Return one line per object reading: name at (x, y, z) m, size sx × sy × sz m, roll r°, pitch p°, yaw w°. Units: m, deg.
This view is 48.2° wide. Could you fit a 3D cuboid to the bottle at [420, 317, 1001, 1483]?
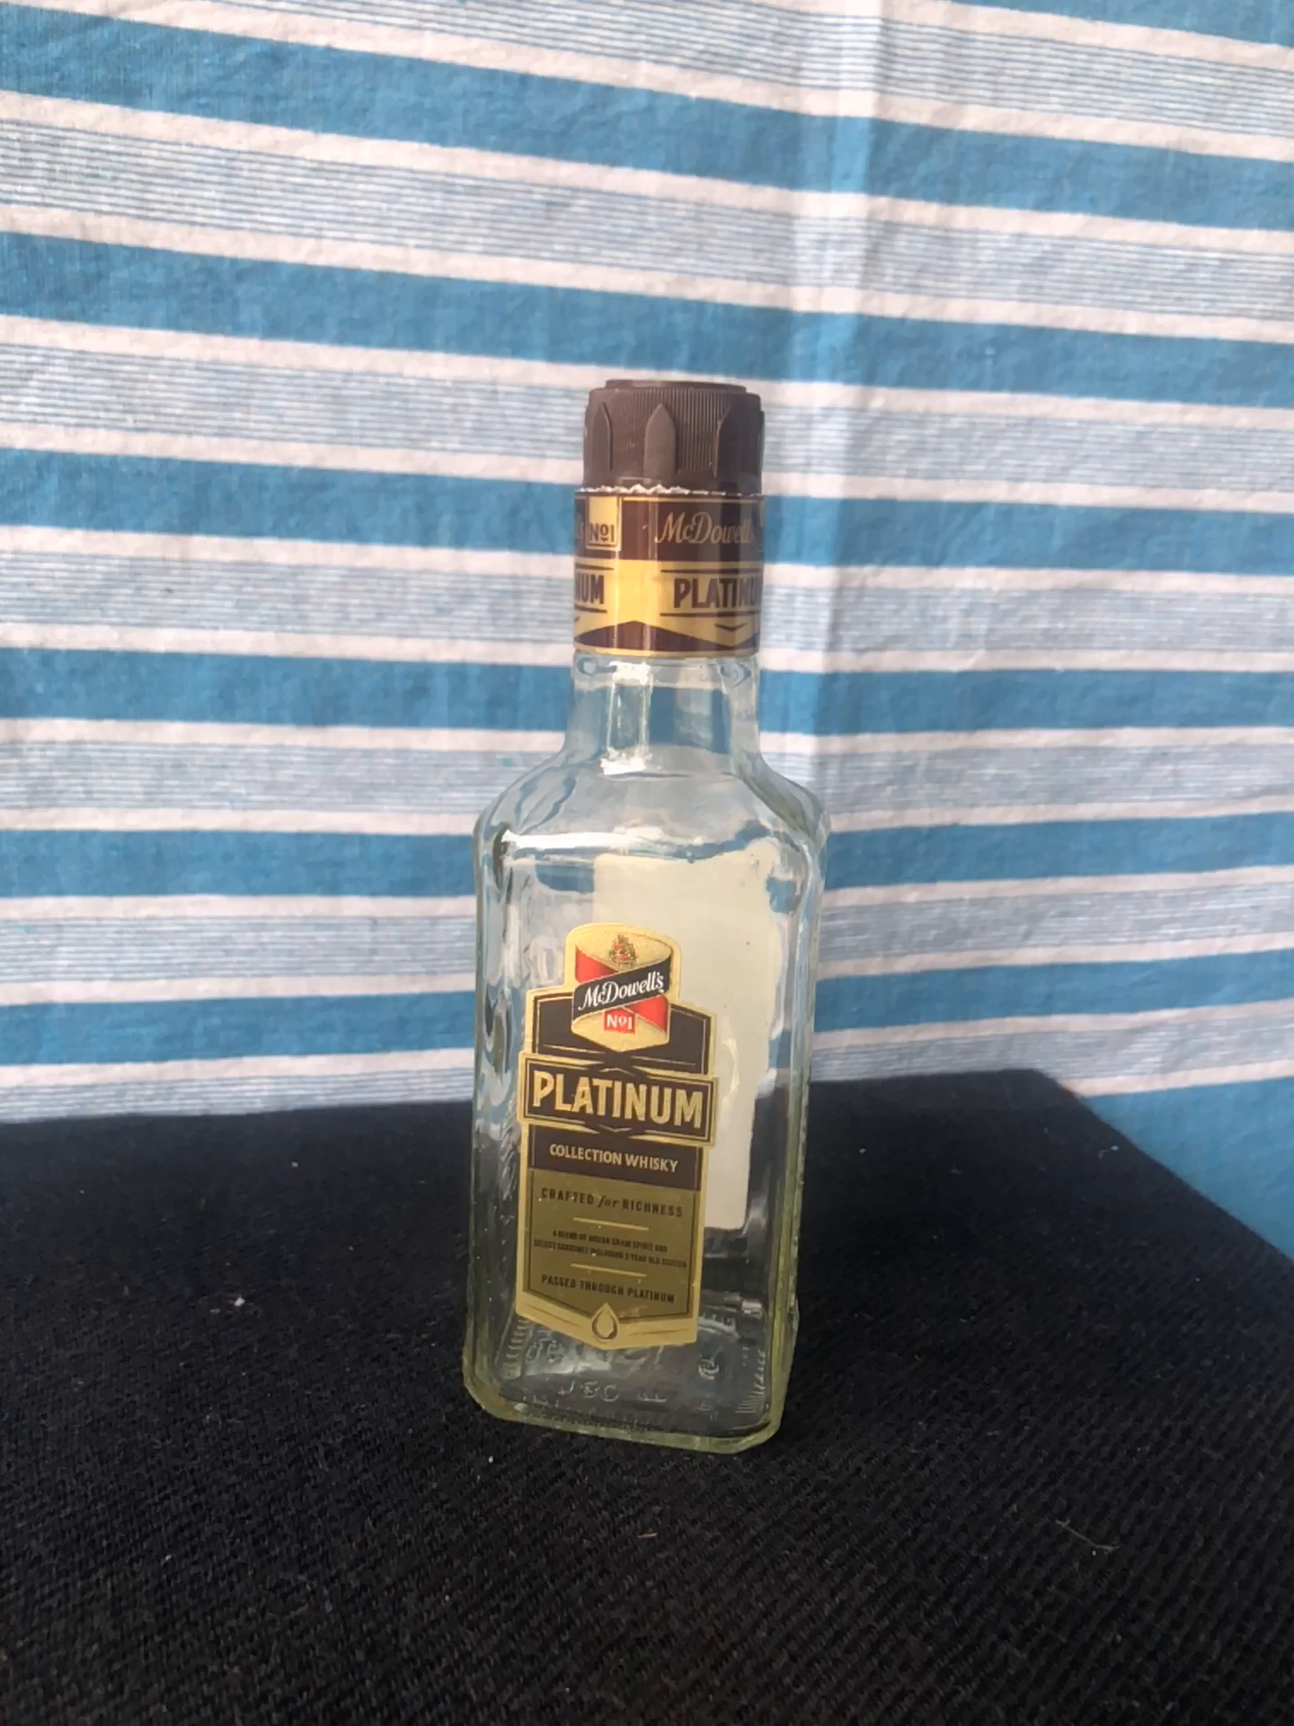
bottle at (0.006, 0.006, 0.206) m, size 0.060 × 0.149 × 0.040 m, roll 7°, pitch 15°, yaw 6°
